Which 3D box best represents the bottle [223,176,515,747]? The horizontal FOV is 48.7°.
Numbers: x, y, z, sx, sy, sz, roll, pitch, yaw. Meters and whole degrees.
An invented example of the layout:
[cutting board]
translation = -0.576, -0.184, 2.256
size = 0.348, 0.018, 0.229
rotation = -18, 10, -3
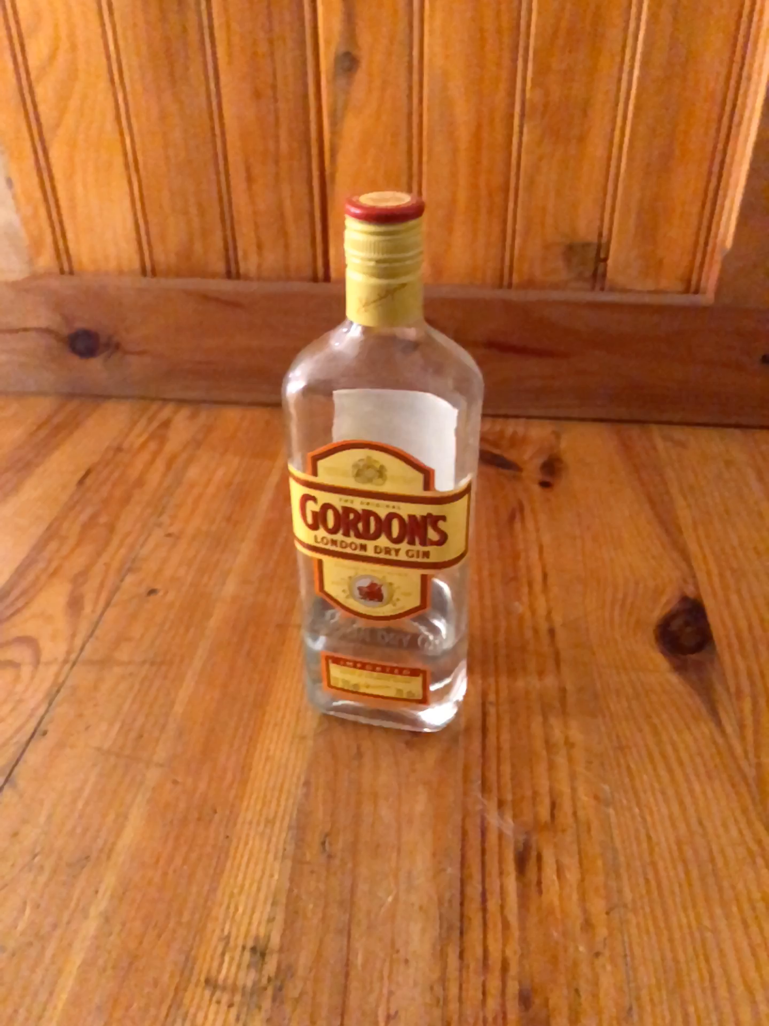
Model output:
[bottle]
translation = -0.001, -0.011, 0.367
size = 0.090, 0.239, 0.060
rotation = 8, 35, 12
